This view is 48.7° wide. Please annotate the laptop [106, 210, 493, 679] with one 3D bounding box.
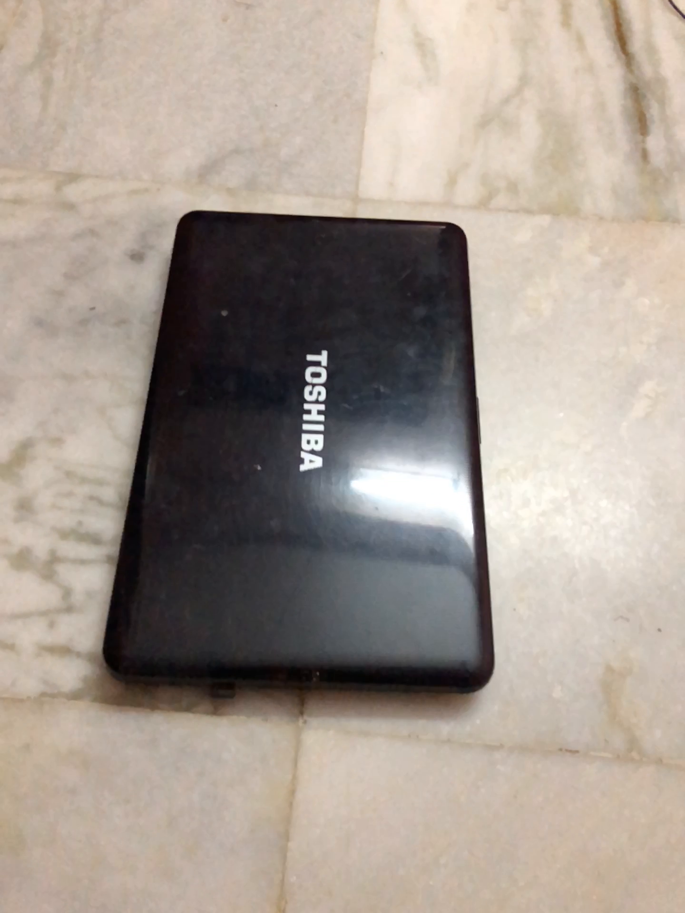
[{"bbox_3d":[-0.019,-0.033,0.525,0.224,0.004,0.361,2,62,-2],"label":"laptop"}]
